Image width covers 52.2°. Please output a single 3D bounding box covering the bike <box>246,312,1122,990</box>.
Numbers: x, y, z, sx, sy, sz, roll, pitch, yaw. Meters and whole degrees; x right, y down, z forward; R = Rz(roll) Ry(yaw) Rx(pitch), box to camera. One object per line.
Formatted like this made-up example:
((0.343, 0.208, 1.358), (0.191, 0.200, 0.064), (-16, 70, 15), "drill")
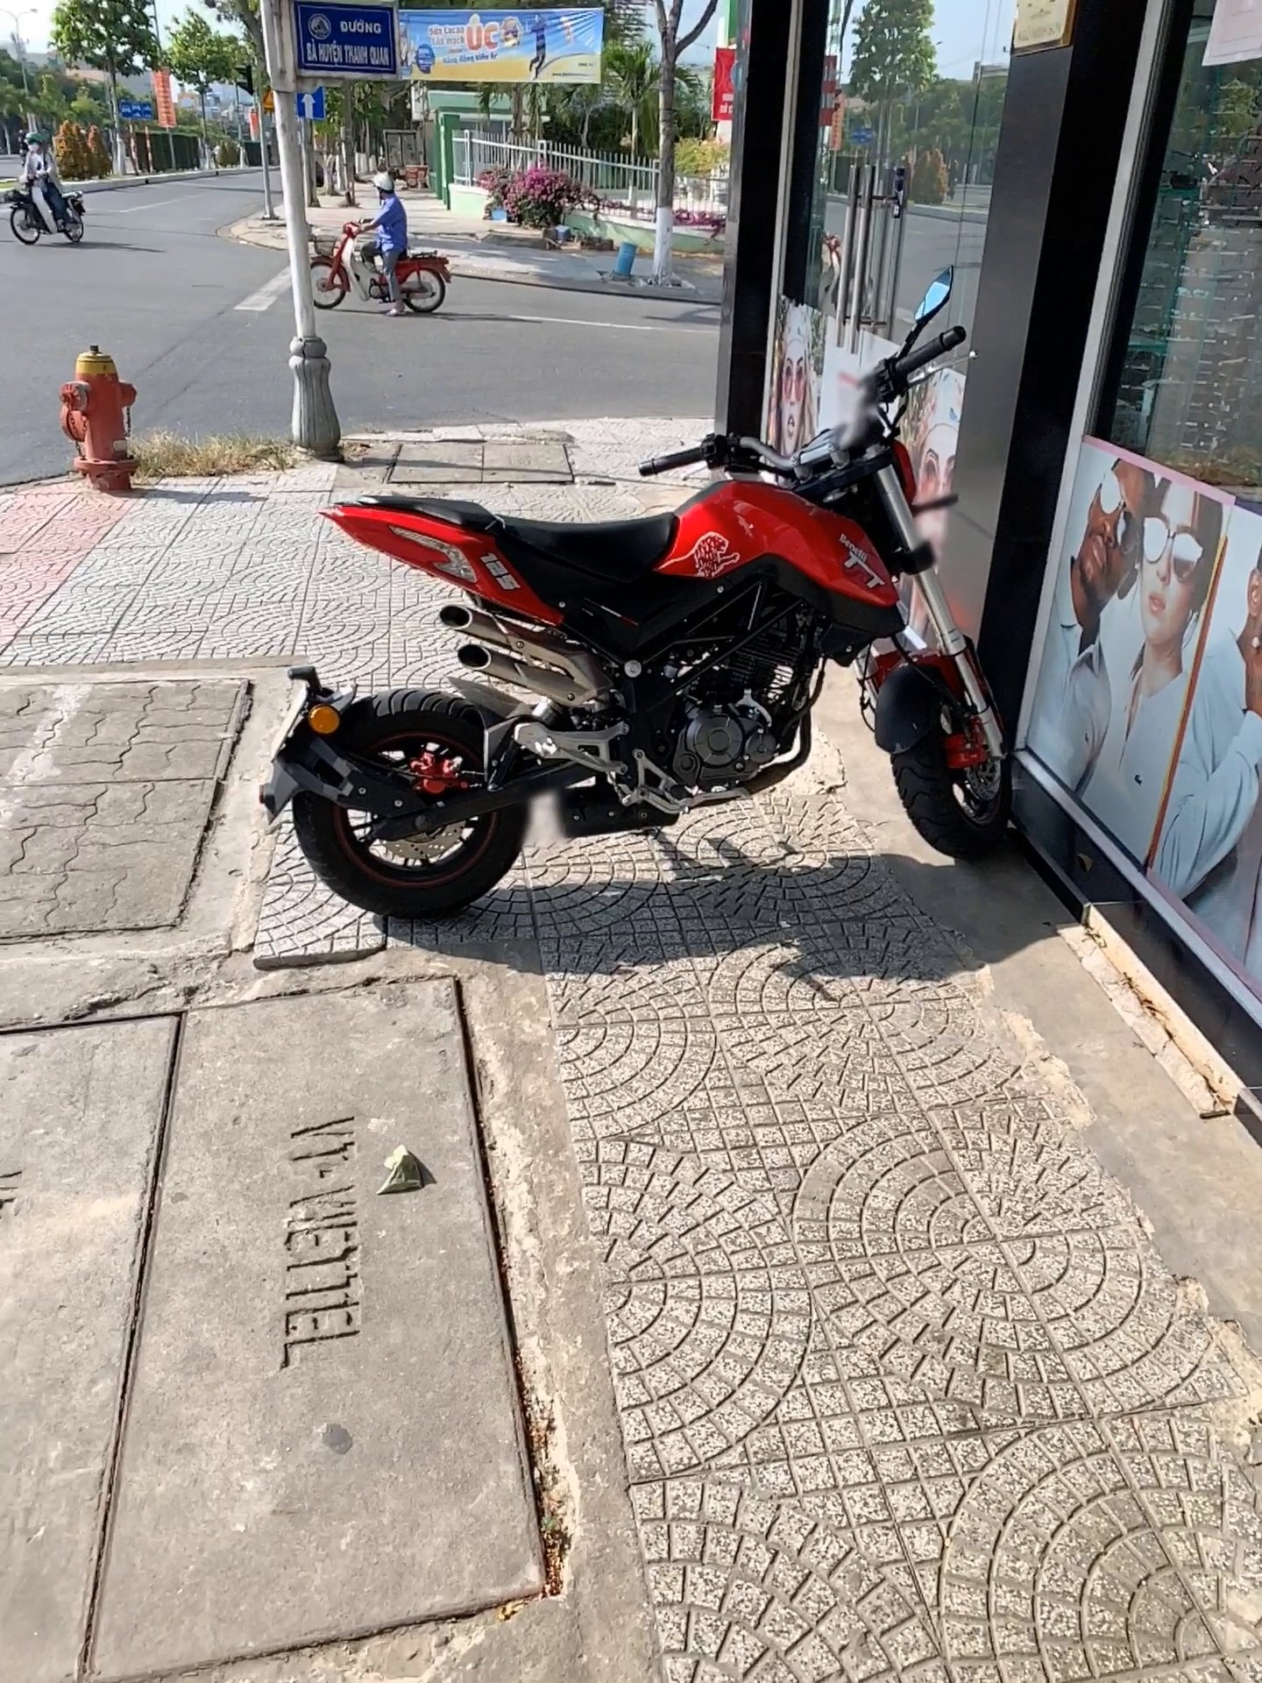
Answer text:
((0.167, -0.640, 3.253), (2.122, 1.216, 0.835), (-12, 30, -26), "bike")
